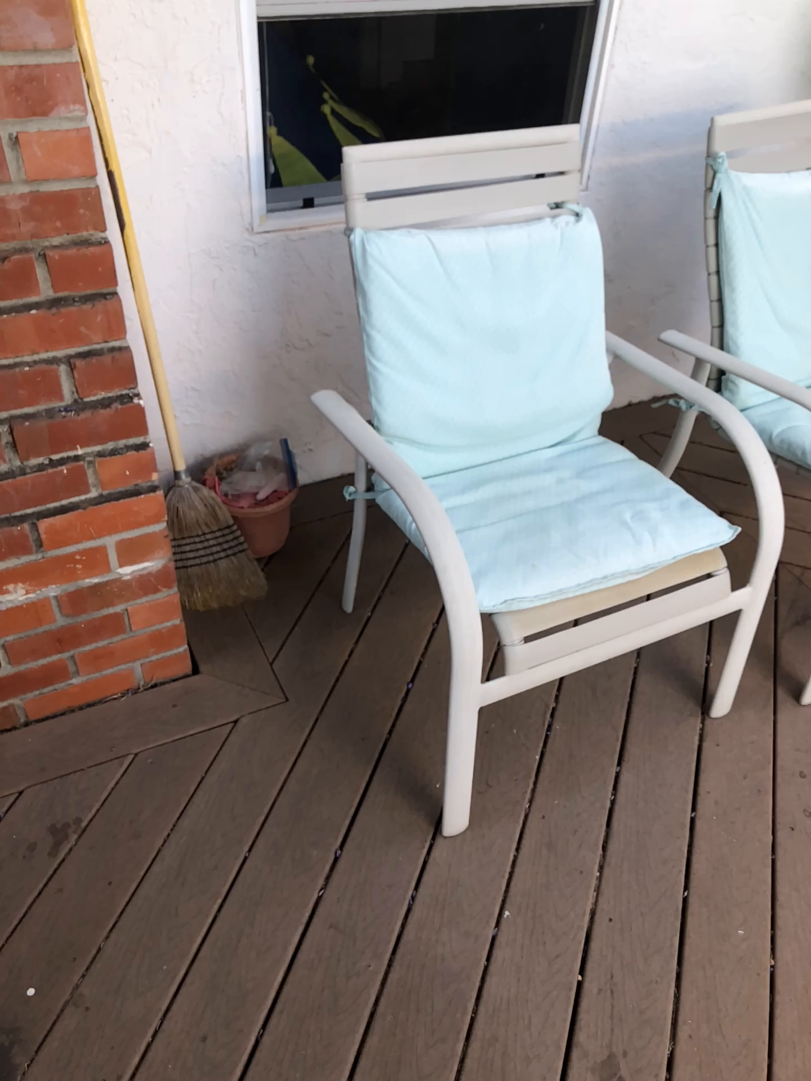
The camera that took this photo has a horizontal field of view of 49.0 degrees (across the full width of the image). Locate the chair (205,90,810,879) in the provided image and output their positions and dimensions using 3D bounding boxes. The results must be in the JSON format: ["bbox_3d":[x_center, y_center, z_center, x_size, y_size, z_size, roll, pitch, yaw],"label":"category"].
[{"bbox_3d":[0.172,-0.166,1.714,0.741,0.994,0.974,-17,46,-23],"label":"chair"}]
